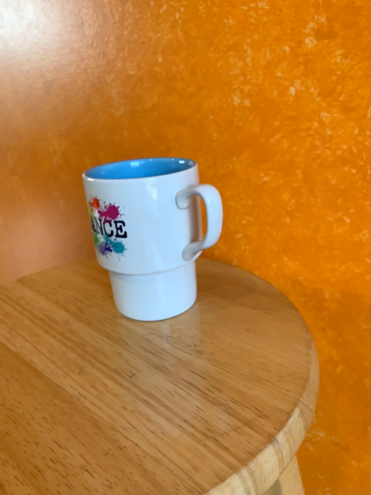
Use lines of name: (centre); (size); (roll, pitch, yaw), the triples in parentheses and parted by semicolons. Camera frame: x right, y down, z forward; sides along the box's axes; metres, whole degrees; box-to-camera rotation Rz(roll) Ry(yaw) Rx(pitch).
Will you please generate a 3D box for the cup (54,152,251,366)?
cup: (-0.024, -0.004, 0.285); (0.080, 0.109, 0.120); (-20, 27, -35)
